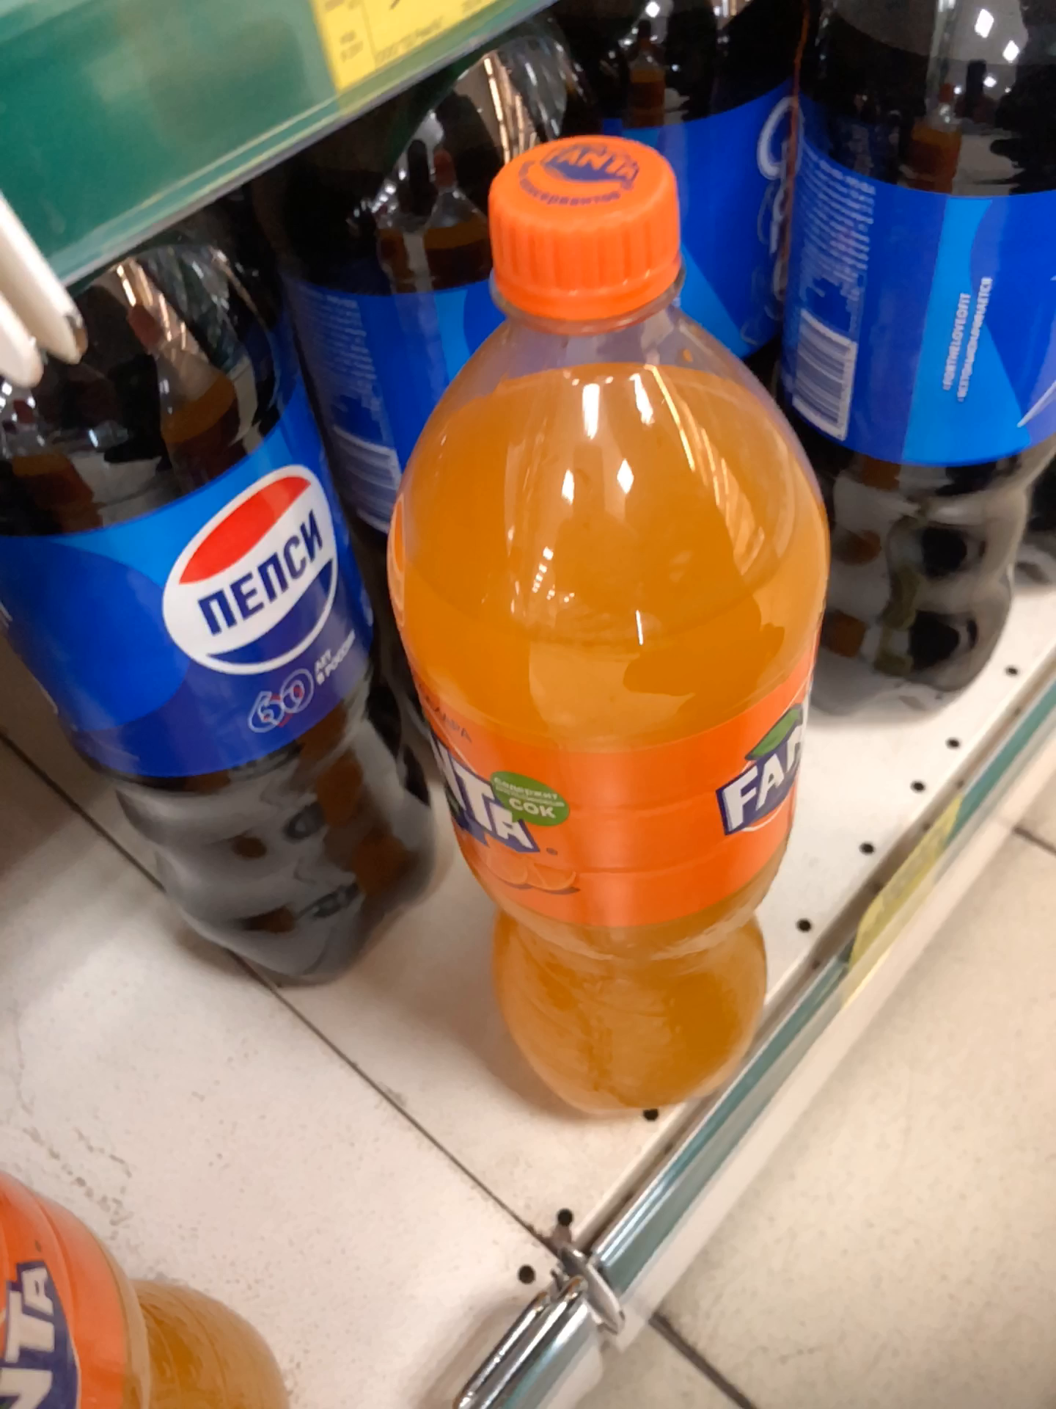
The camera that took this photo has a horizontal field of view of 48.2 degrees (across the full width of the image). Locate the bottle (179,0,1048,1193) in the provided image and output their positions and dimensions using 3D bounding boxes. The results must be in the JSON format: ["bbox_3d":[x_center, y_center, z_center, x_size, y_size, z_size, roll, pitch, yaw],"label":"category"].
[{"bbox_3d":[0.029,0.010,0.300,0.090,0.308,0.100,29,61,26],"label":"bottle"}]
